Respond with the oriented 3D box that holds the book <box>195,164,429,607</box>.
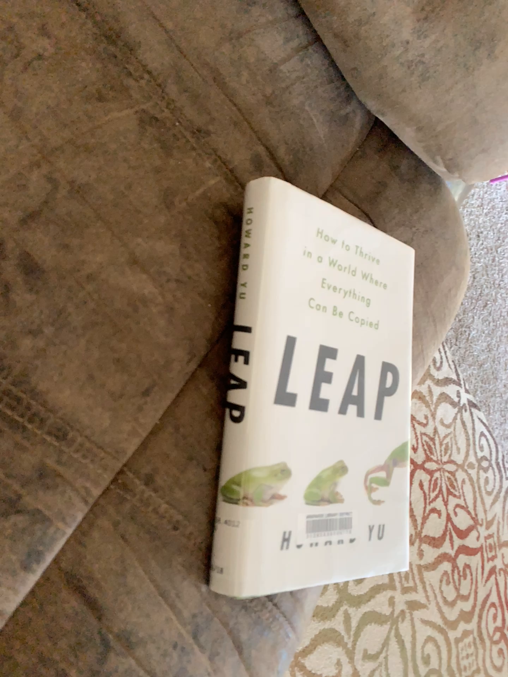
[{"bbox_3d":[0.048,0.030,0.338,0.161,0.040,0.235,12,75,-38],"label":"book"}]
